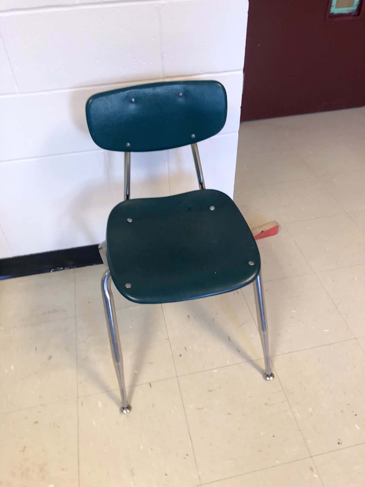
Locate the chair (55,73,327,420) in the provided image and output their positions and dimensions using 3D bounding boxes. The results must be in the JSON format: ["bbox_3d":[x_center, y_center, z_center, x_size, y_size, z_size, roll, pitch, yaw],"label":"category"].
[{"bbox_3d":[-0.025,0.004,1.132,0.480,0.695,0.594,-10,43,-8],"label":"chair"}]
